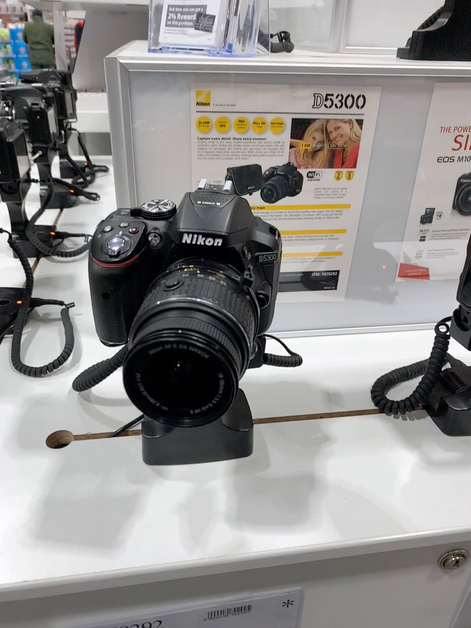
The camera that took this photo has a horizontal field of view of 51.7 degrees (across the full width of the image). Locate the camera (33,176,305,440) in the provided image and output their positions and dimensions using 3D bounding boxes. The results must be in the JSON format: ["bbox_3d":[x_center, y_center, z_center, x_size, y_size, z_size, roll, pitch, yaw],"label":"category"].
[{"bbox_3d":[-0.028,-0.016,0.304,0.120,0.099,0.151,2,29,1],"label":"camera"}]
